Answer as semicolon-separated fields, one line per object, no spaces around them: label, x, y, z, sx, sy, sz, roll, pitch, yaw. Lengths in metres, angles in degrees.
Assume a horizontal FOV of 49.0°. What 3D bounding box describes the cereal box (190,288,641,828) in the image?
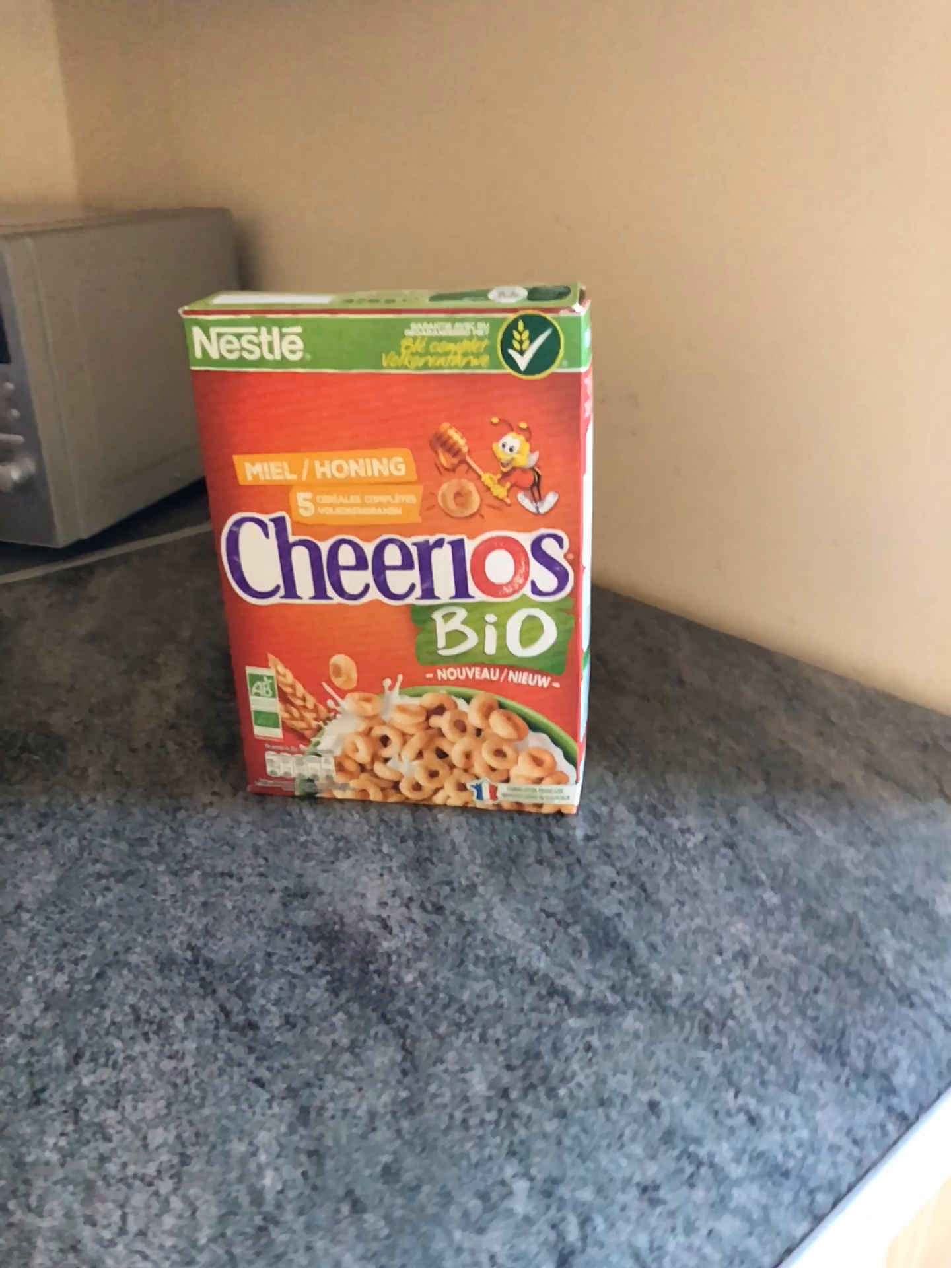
cereal box;-0.020;-0.039;0.544;0.200;0.259;0.080;2;23;10
